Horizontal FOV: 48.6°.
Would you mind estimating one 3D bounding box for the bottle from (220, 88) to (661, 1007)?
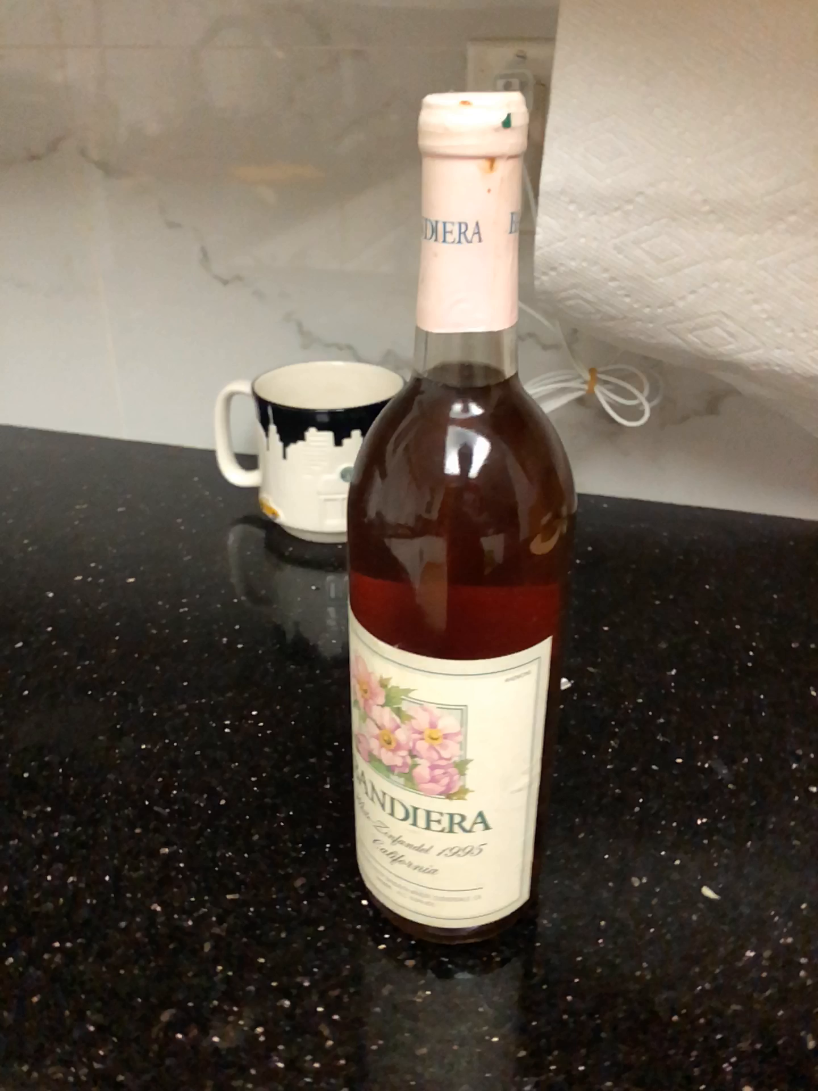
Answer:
[{"bbox_3d":[0.010,0.010,0.295,0.080,0.278,0.080,0,29,0],"label":"bottle"}]
